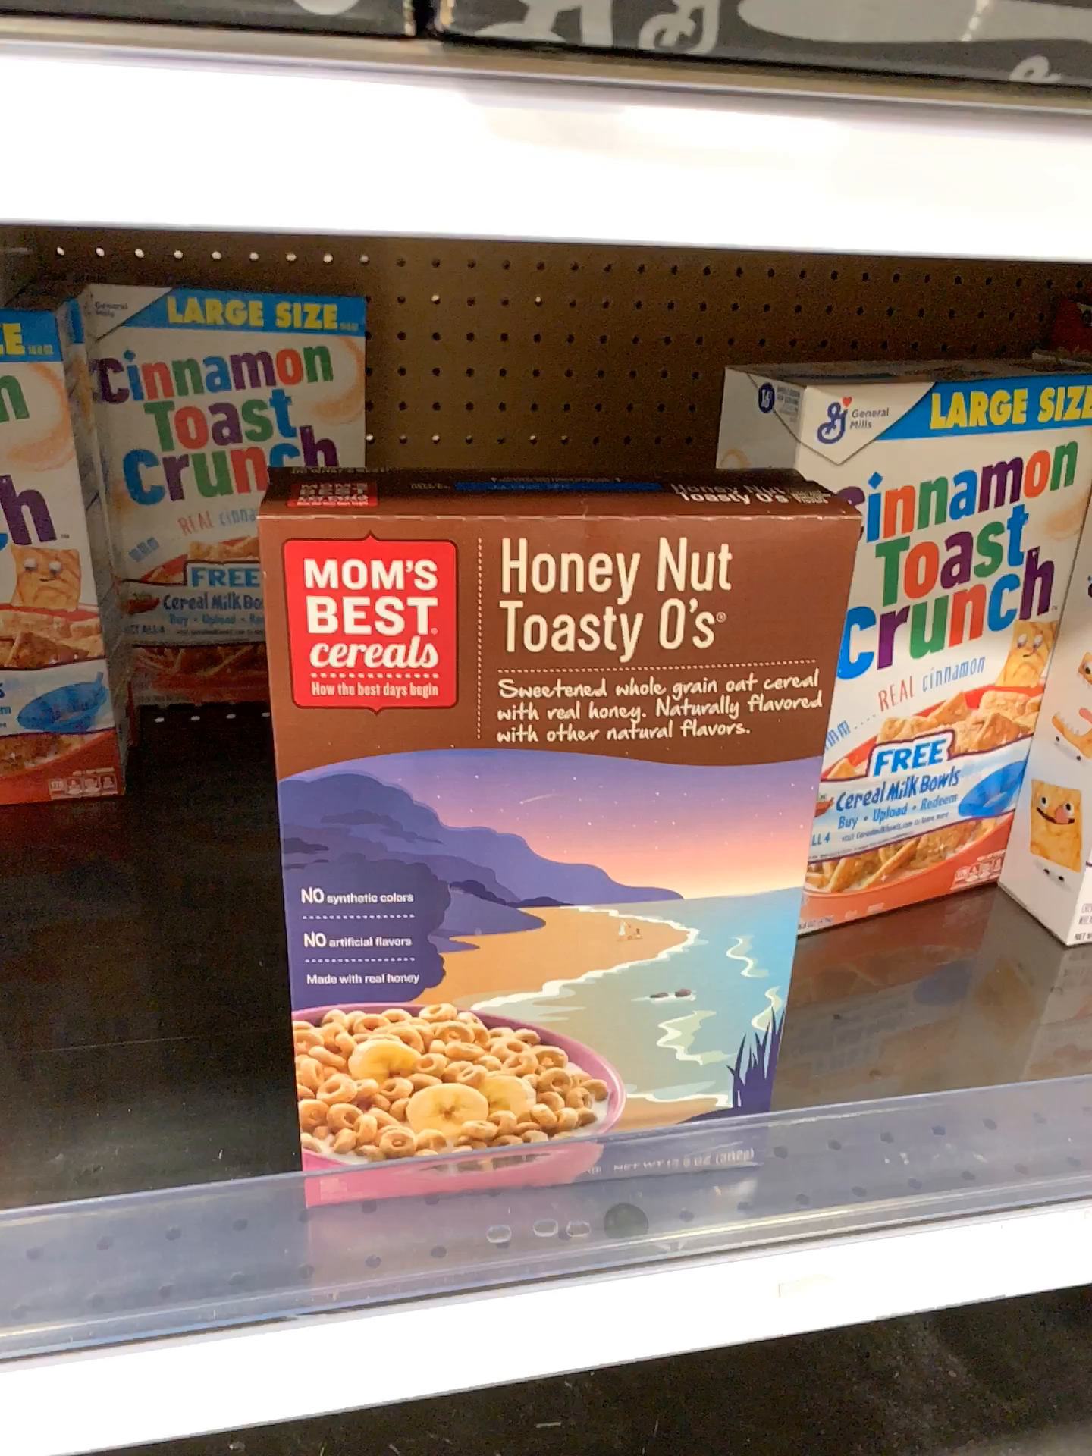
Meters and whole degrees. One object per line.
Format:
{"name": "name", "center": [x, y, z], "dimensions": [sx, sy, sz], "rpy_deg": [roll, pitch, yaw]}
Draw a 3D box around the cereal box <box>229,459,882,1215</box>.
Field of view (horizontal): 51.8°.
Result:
{"name": "cereal box", "center": [-0.003, 0.045, 0.429], "dimensions": [0.200, 0.279, 0.070], "rpy_deg": [-2, 25, -9]}
